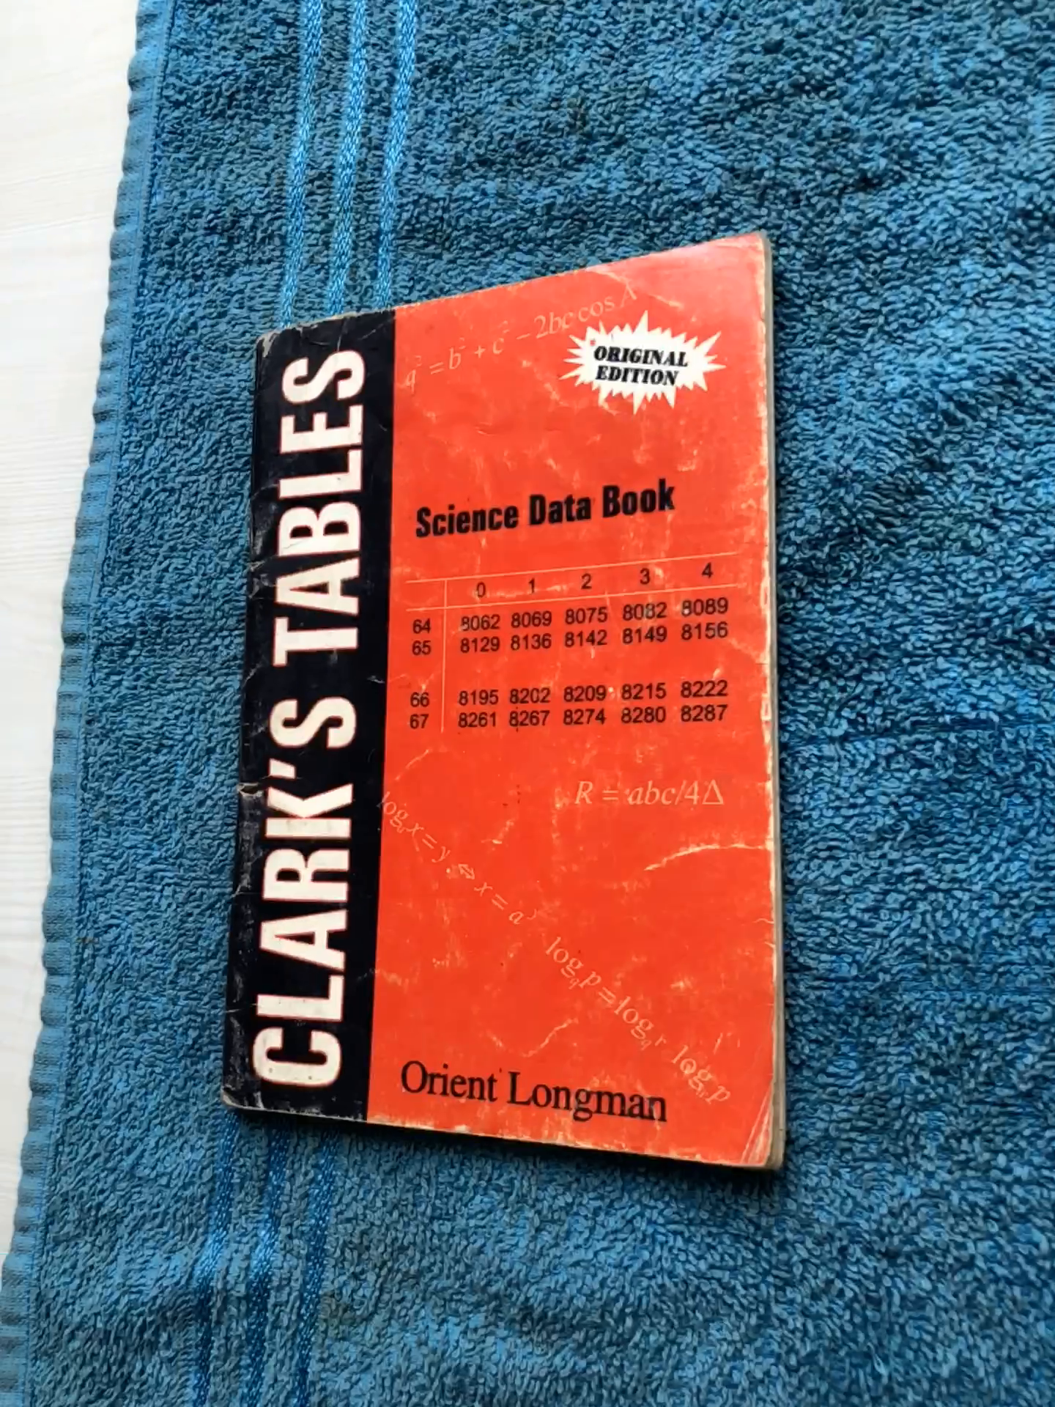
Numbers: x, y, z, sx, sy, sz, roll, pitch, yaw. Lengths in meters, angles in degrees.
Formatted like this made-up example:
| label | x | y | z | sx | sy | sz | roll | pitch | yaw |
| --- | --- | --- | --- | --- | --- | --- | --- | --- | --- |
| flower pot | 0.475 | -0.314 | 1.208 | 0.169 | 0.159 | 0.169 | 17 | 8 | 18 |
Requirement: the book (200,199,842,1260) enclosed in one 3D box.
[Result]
| label | x | y | z | sx | sy | sz | roll | pitch | yaw |
| --- | --- | --- | --- | --- | --- | --- | --- | --- | --- |
| book | -0.003 | 0.003 | 0.236 | 0.120 | 0.030 | 0.180 | -3 | 82 | 23 |
